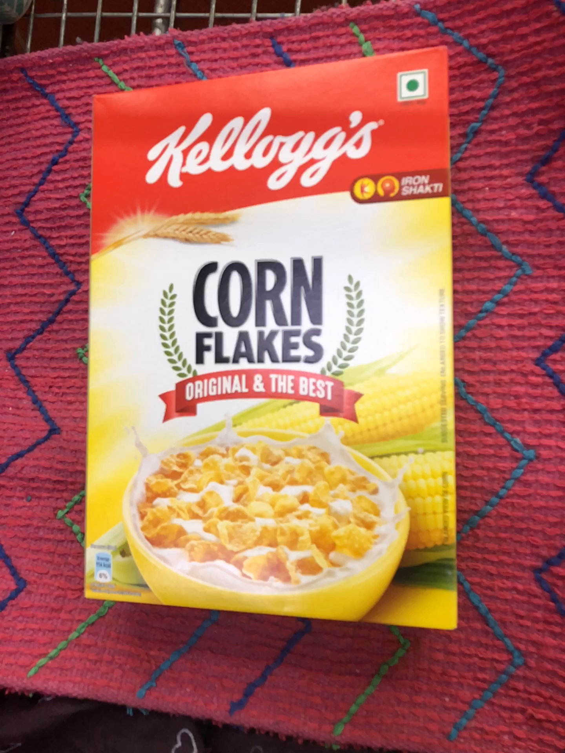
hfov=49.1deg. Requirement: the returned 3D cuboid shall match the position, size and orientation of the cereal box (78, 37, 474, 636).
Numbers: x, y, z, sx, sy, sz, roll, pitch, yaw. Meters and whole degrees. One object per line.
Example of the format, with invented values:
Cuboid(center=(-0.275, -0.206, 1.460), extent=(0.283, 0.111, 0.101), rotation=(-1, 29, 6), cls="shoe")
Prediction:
Cuboid(center=(-0.003, -0.017, 0.326), extent=(0.190, 0.070, 0.260), rotation=(-1, 87, 15), cls="cereal box")
